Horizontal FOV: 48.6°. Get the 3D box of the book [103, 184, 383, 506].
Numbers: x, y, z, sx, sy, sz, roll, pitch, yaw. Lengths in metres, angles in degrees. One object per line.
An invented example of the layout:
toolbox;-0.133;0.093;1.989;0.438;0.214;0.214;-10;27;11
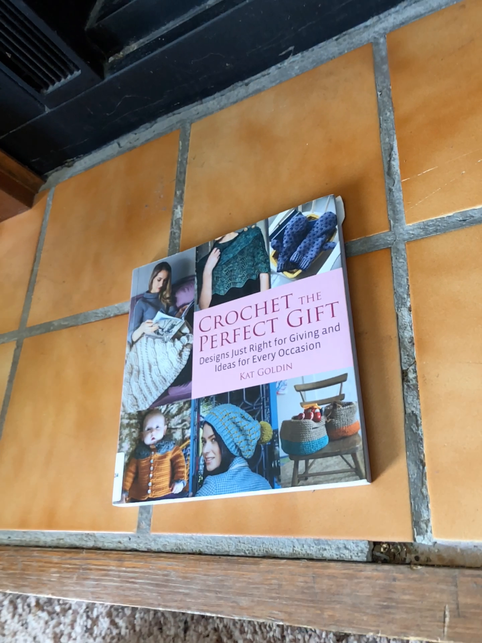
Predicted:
book;-0.011;0.022;0.423;0.218;0.020;0.221;-15;61;28
